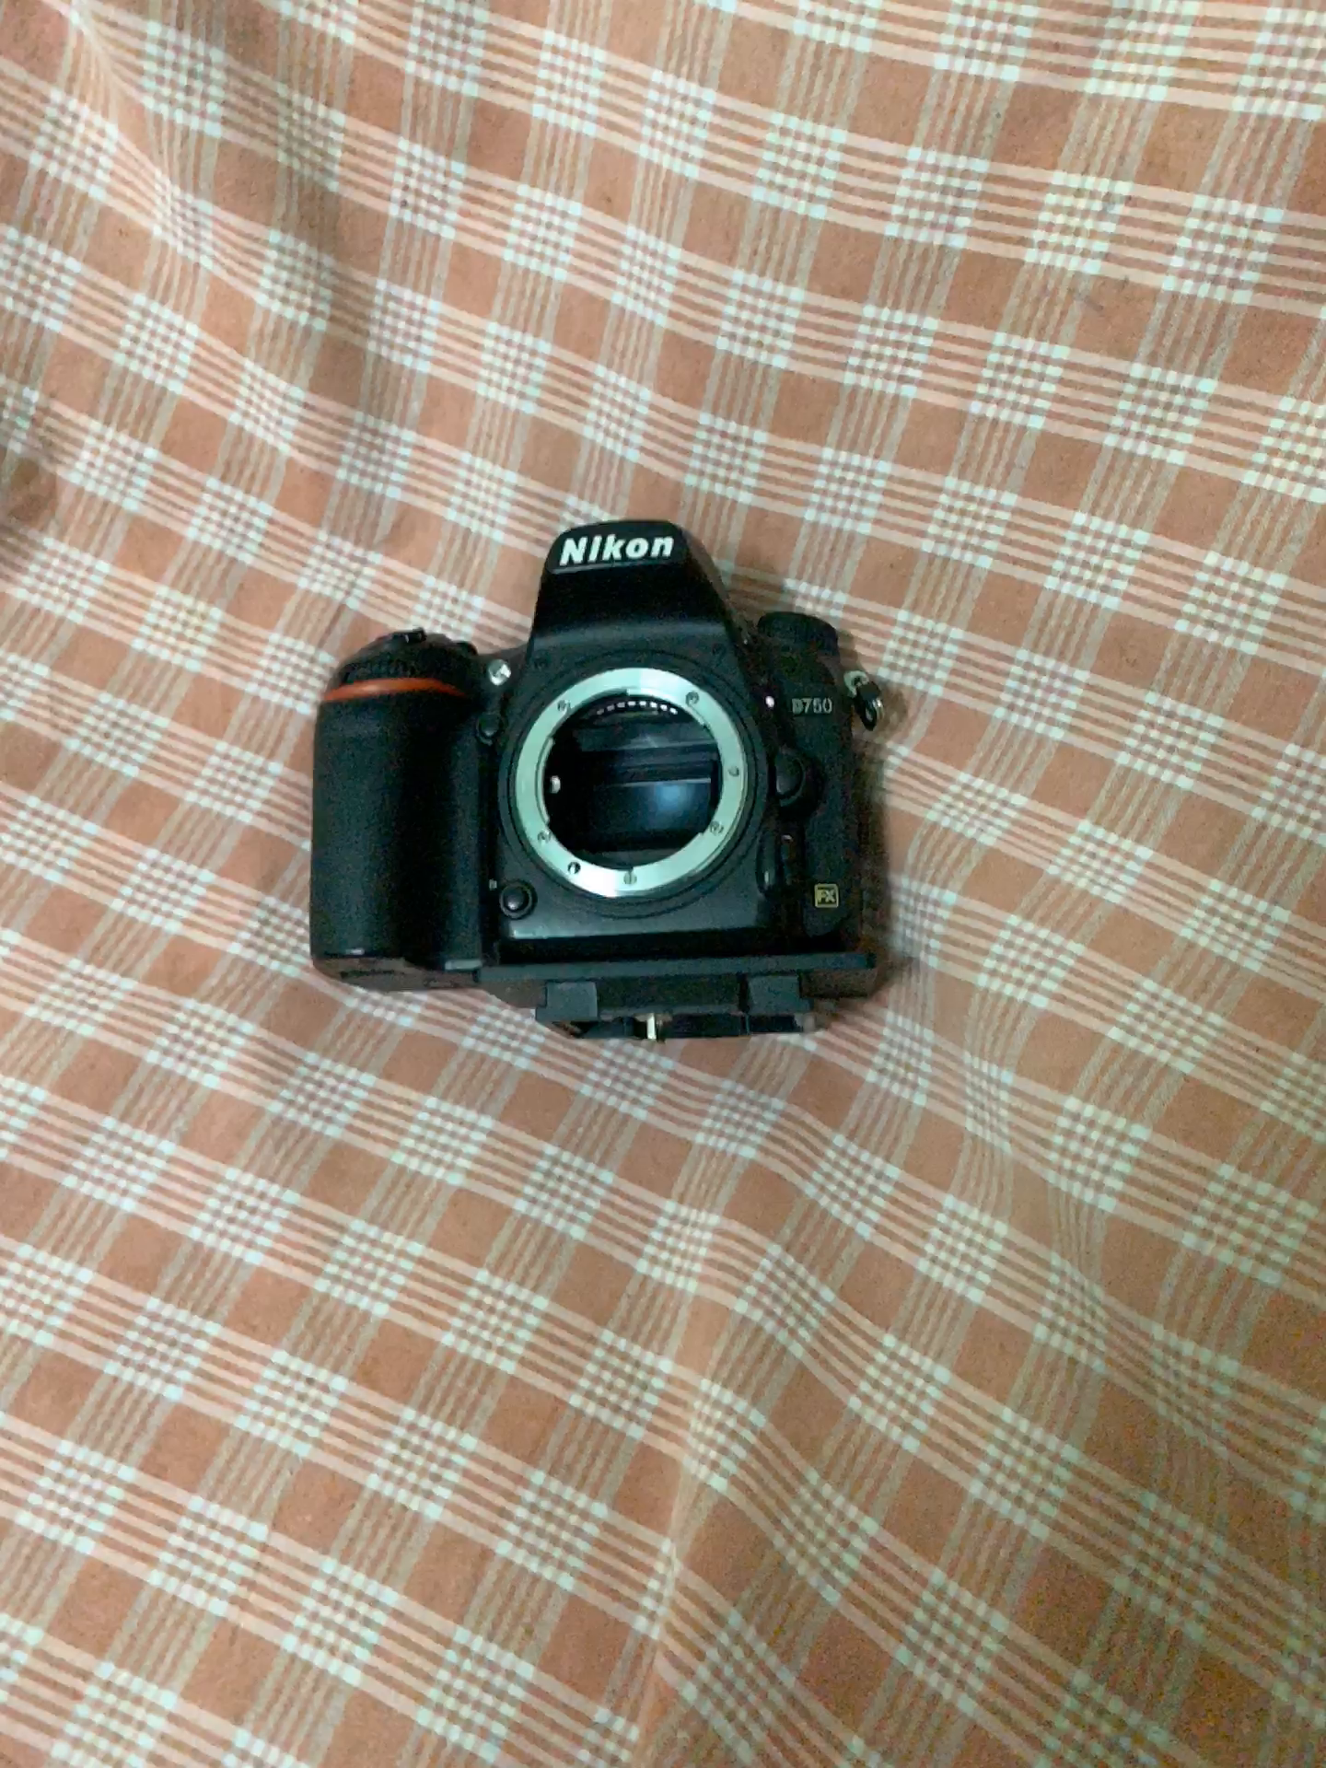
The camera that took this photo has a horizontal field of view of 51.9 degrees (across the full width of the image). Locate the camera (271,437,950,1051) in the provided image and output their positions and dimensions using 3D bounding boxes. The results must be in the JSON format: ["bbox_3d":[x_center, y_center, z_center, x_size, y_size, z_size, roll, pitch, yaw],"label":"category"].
[{"bbox_3d":[-0.011,-0.027,0.342,0.145,0.085,0.125,-3,78,5],"label":"camera"}]
